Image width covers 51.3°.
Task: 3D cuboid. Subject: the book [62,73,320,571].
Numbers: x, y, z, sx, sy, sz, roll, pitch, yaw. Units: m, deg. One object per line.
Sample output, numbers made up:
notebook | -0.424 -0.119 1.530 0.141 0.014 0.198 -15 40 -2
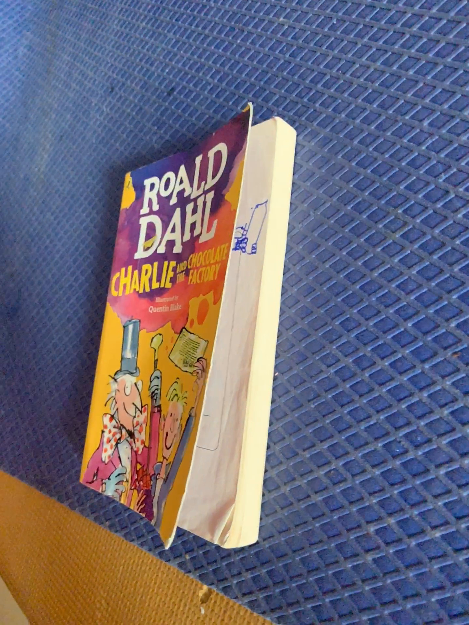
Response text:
book | -0.029 -0.001 0.258 0.141 0.020 0.210 -2 77 43
